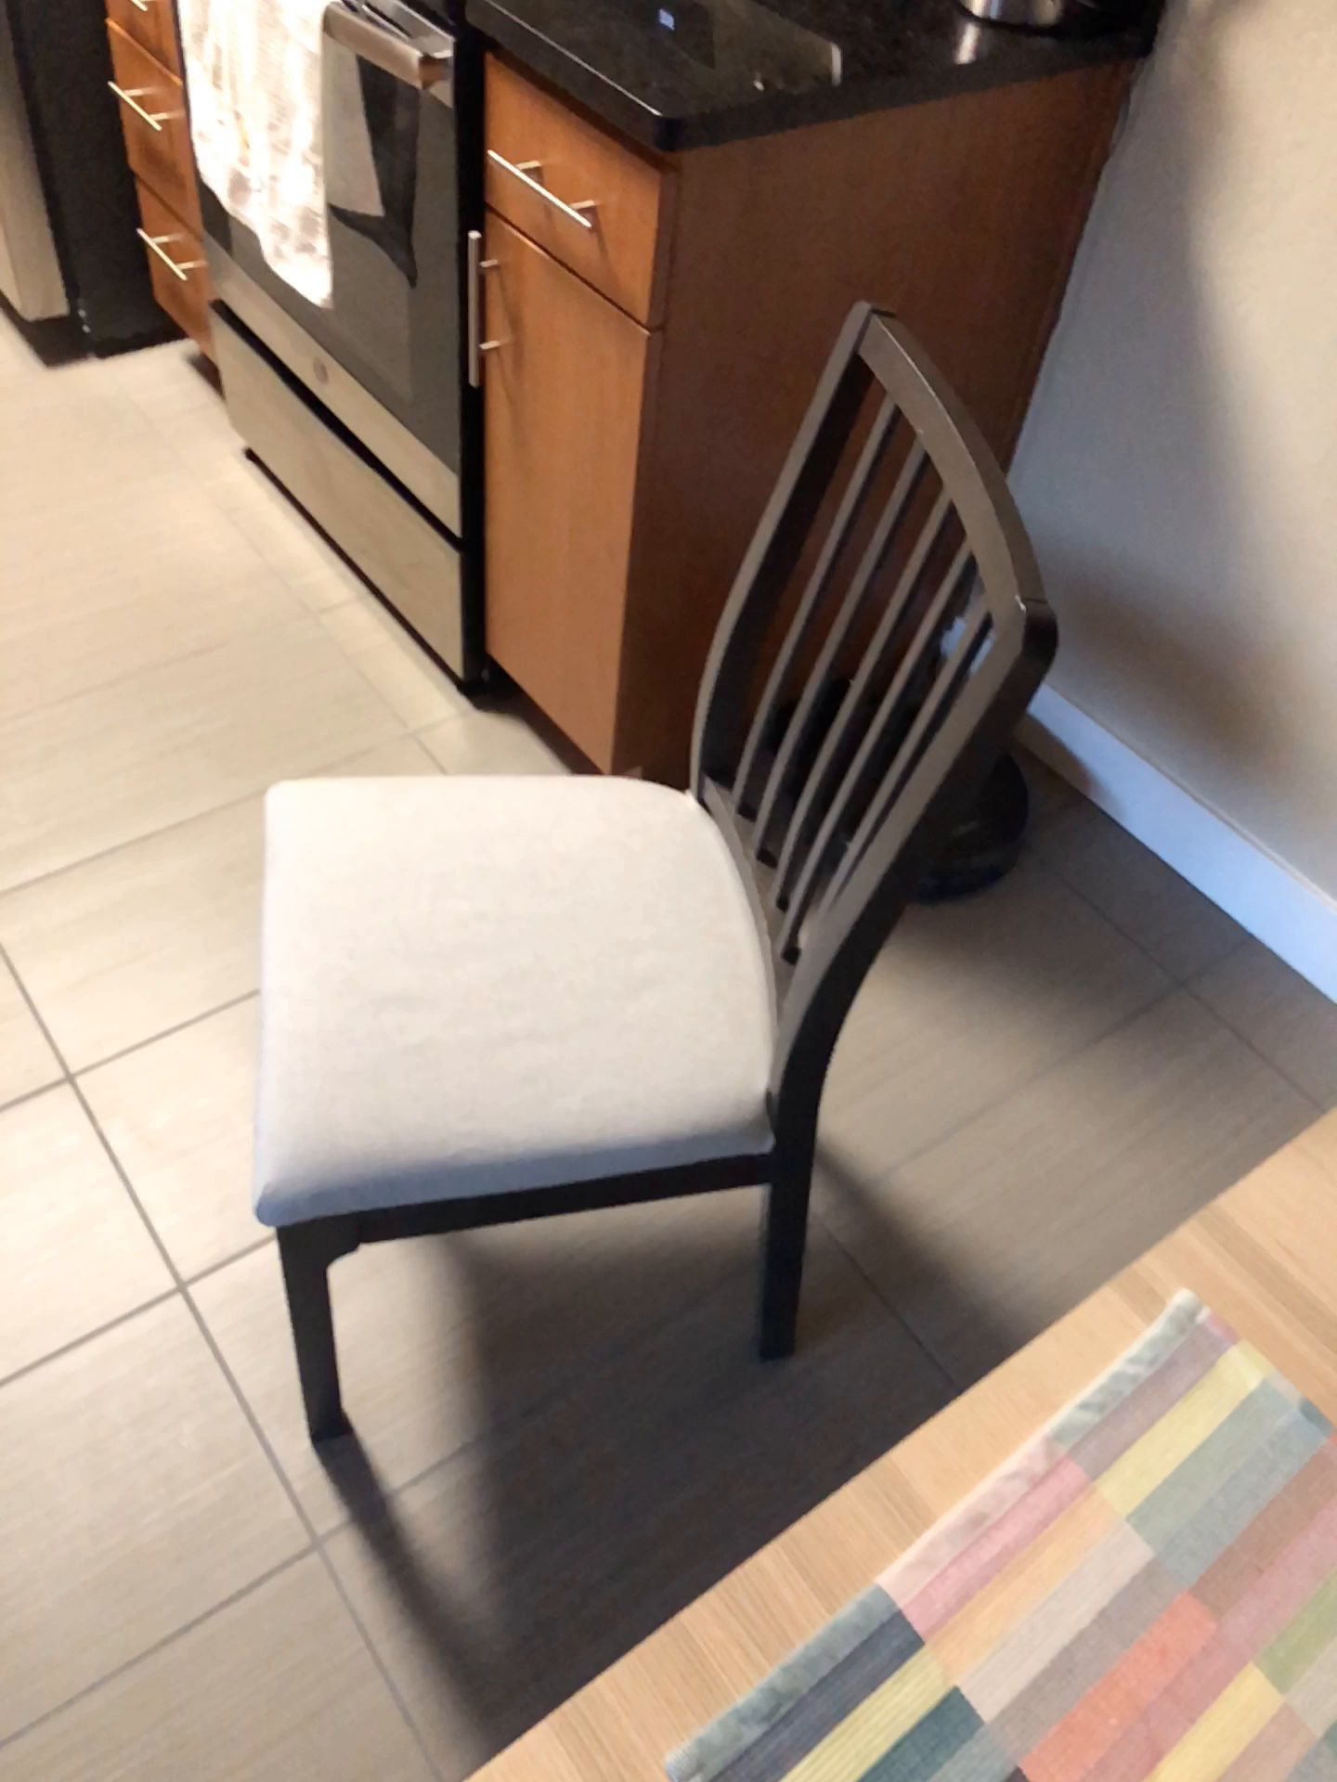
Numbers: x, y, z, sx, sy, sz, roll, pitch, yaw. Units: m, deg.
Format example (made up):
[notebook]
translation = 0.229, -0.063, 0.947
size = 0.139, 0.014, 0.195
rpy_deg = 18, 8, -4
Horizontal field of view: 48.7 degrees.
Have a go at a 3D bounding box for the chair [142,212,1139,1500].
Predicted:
[chair]
translation = -0.081, 0.080, 1.325
size = 0.510, 1.125, 0.482
rpy_deg = 0, 48, -8
